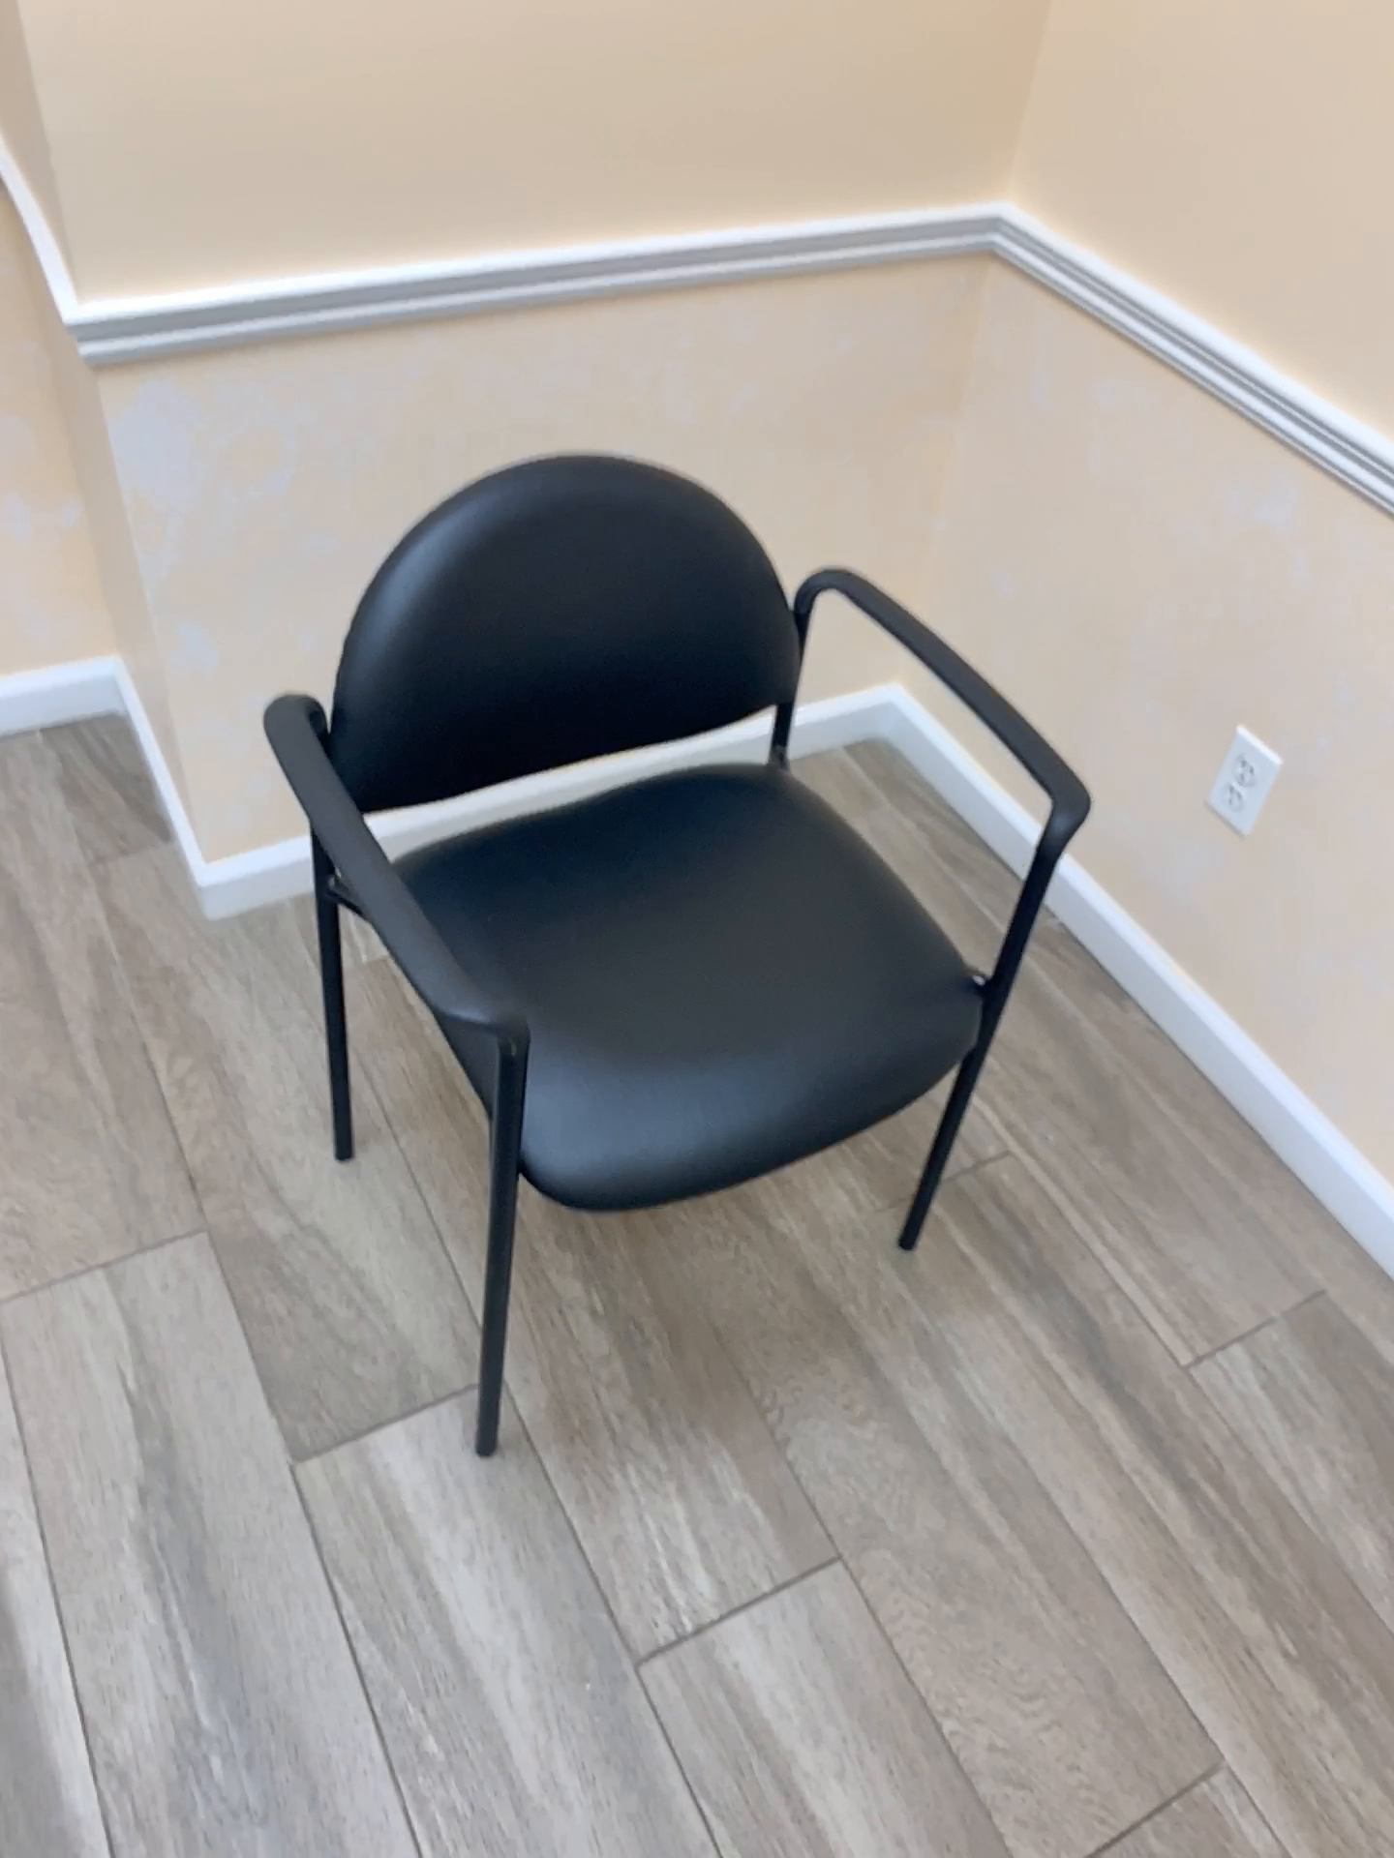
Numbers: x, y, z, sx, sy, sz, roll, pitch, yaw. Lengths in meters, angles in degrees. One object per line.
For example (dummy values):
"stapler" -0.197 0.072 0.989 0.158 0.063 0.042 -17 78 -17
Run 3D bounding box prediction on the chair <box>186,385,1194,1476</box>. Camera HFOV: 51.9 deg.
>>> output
"chair" -0.050 -0.001 1.330 0.583 0.726 0.512 -19 51 -24
